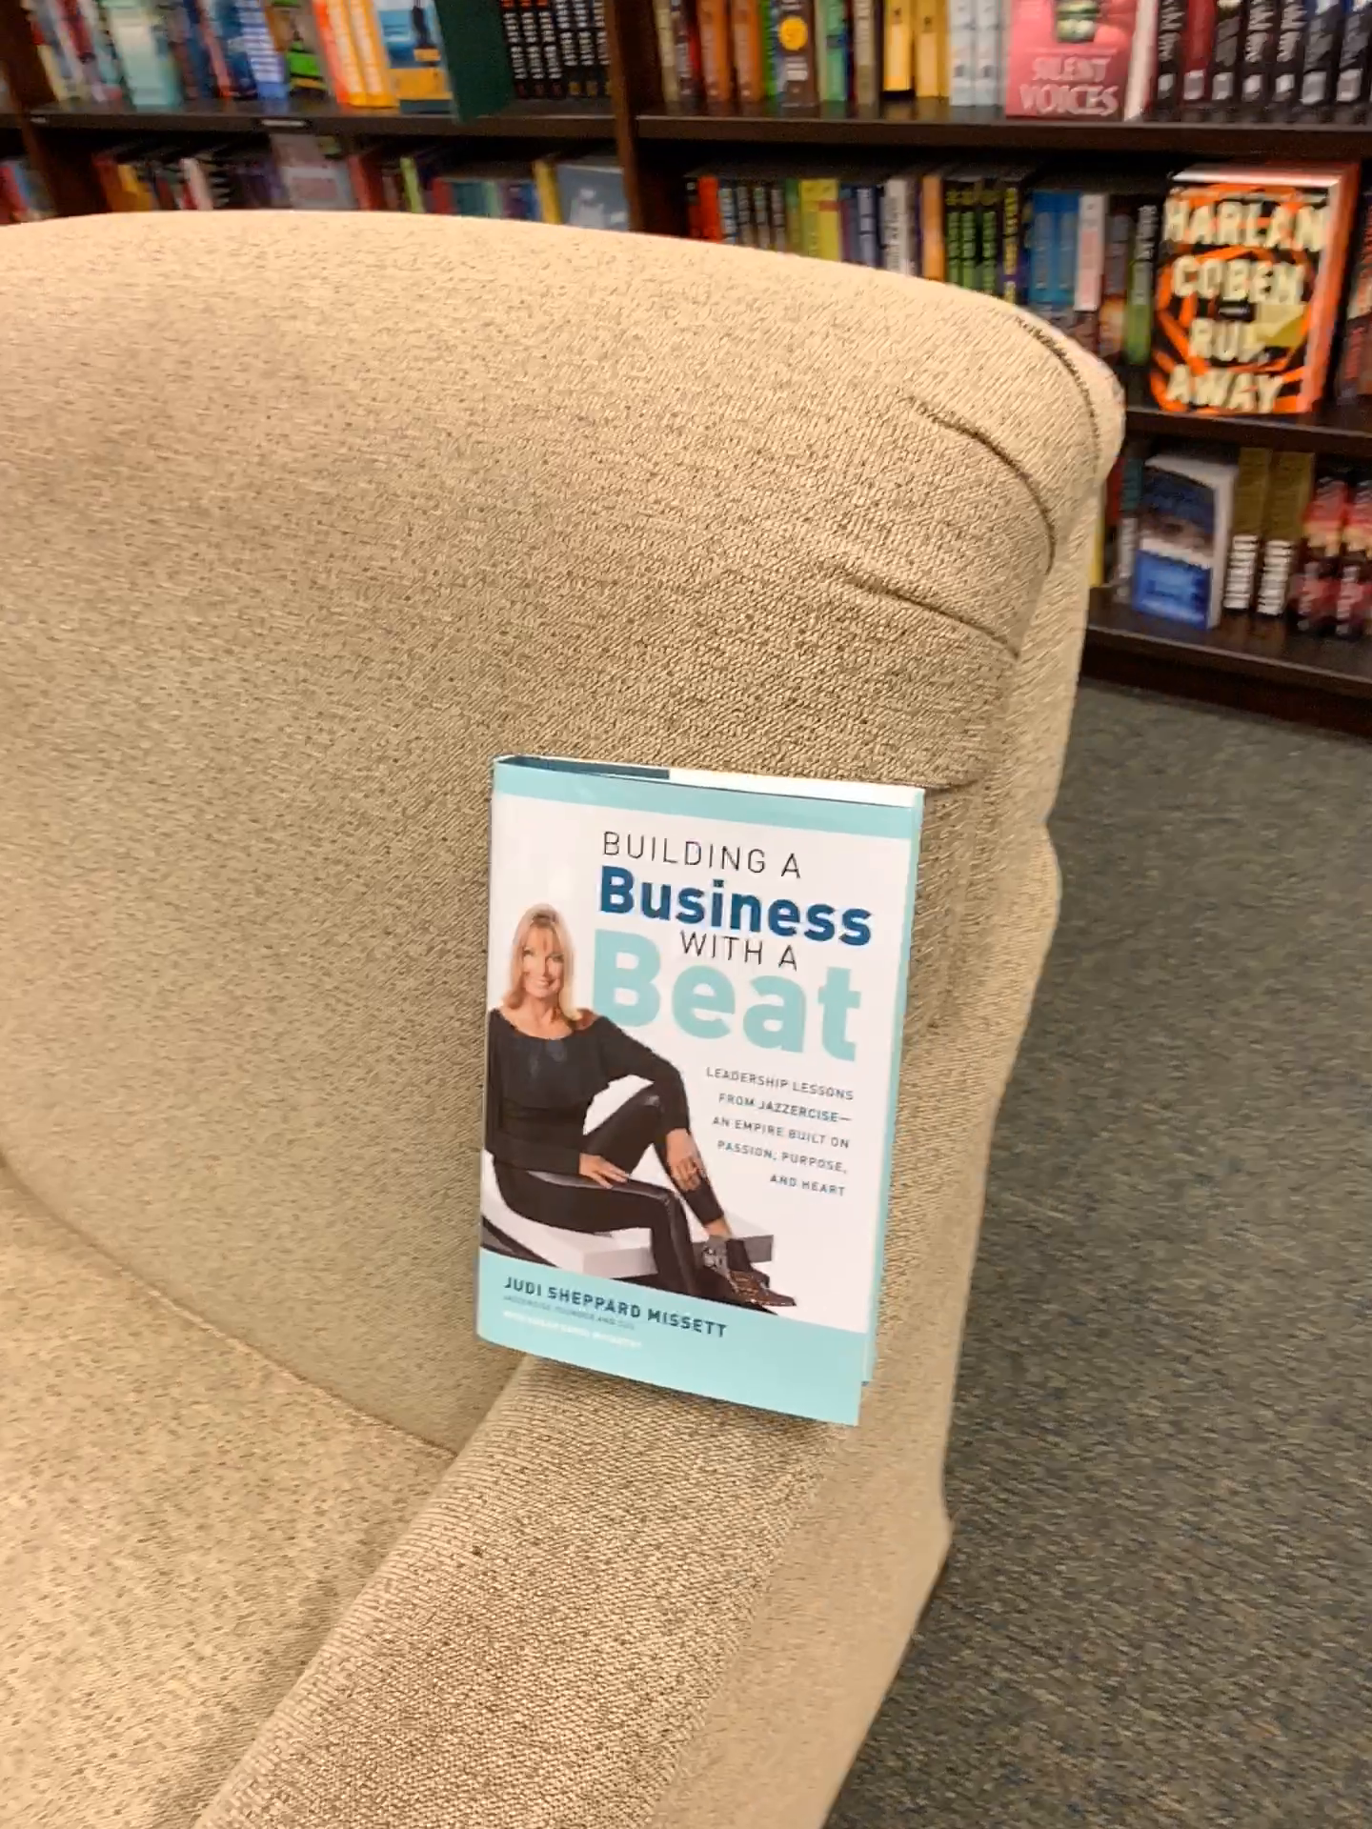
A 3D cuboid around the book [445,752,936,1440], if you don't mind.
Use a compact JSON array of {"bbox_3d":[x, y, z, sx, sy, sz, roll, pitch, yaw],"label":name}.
[{"bbox_3d":[-0.003,0.062,0.523,0.170,0.230,0.040,6,14,20],"label":"book"}]
